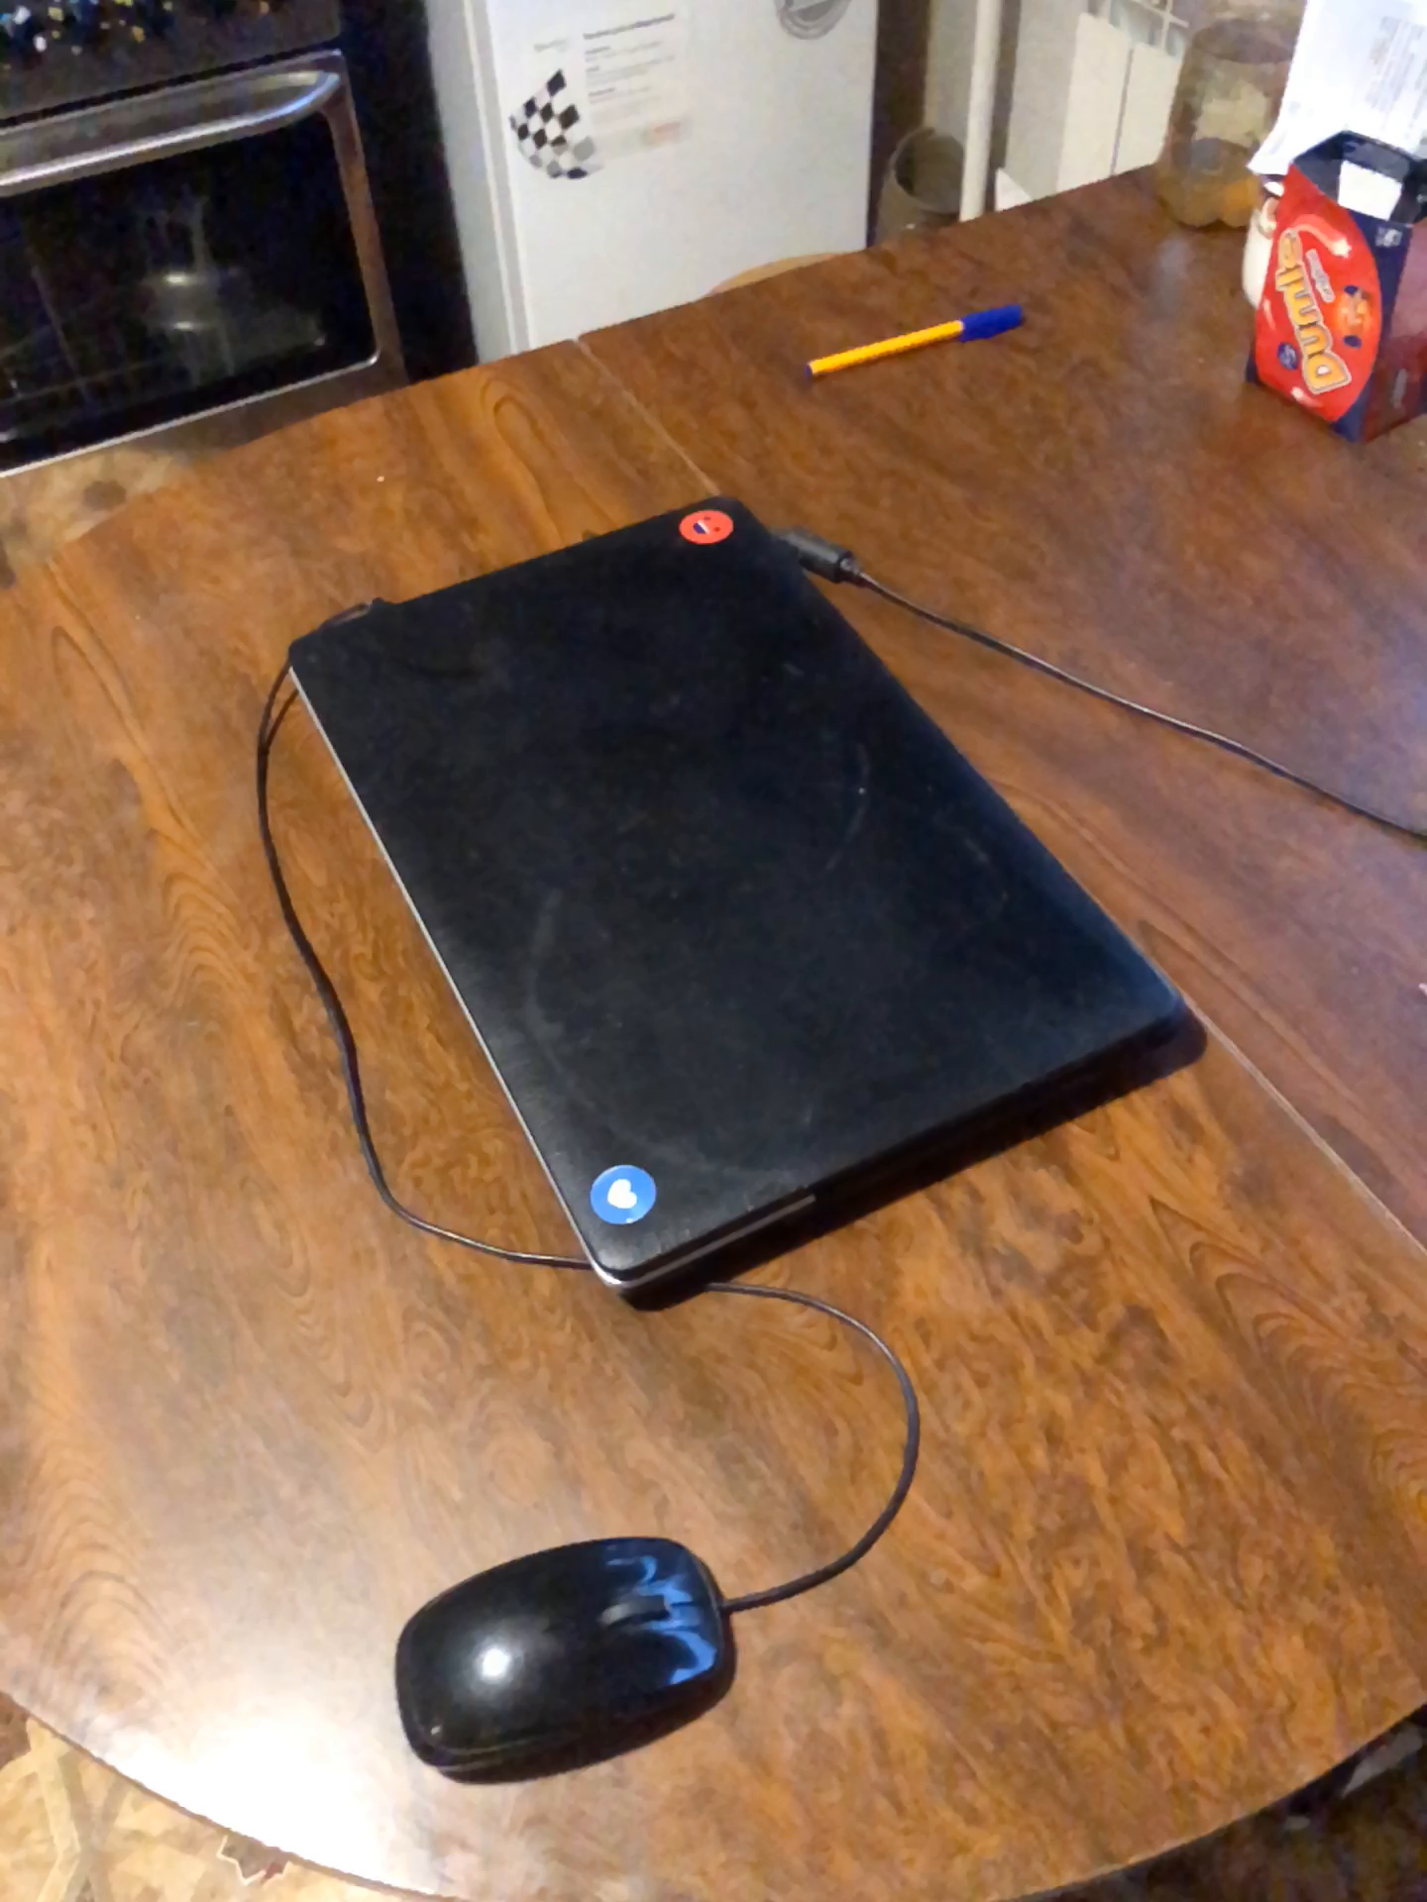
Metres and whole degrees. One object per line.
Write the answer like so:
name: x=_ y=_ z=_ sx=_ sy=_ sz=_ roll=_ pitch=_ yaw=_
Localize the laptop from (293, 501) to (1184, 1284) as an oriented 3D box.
laptop: x=-0.010 y=-0.057 z=0.676 sx=0.238 sy=0.007 sz=0.367 roll=-23 pitch=55 yaw=-14
